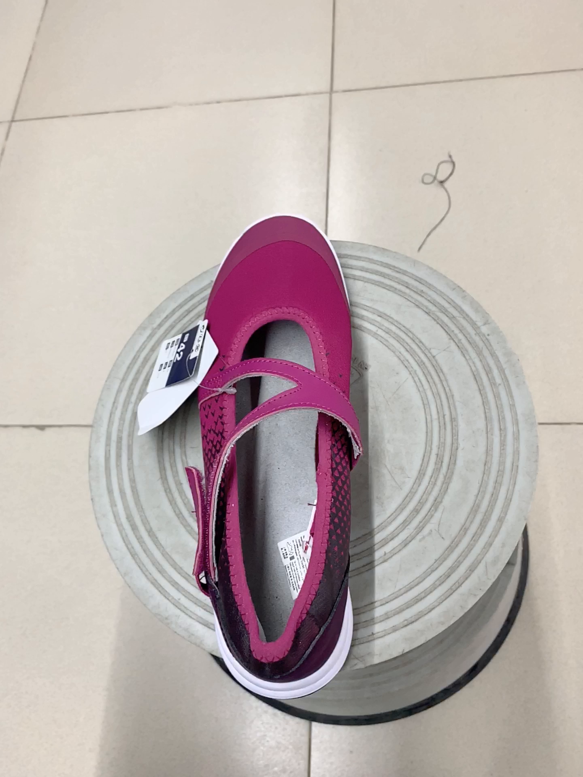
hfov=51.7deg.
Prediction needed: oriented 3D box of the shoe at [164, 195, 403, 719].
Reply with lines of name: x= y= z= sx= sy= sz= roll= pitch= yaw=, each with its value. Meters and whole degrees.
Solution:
shoe: x=-0.006 y=0.028 z=0.330 sx=0.100 sy=0.070 sz=0.260 roll=-6 pitch=67 yaw=7
